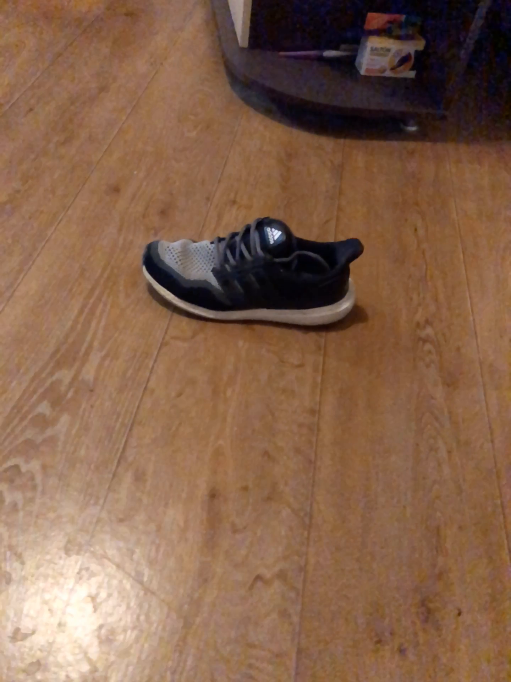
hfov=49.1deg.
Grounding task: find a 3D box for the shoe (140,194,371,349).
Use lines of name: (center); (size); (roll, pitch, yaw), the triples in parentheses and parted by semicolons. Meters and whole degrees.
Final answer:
shoe: (0.002, -0.089, 0.718); (0.270, 0.099, 0.114); (11, 48, 1)
